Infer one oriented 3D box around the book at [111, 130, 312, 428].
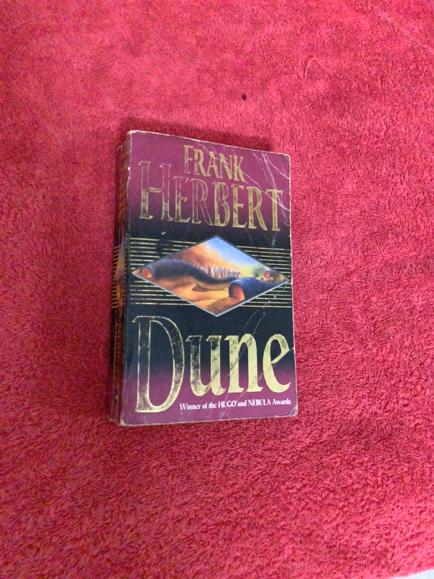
[{"bbox_3d":[-0.005,-0.005,0.279,0.114,0.040,0.165,2,81,-18],"label":"book"}]
